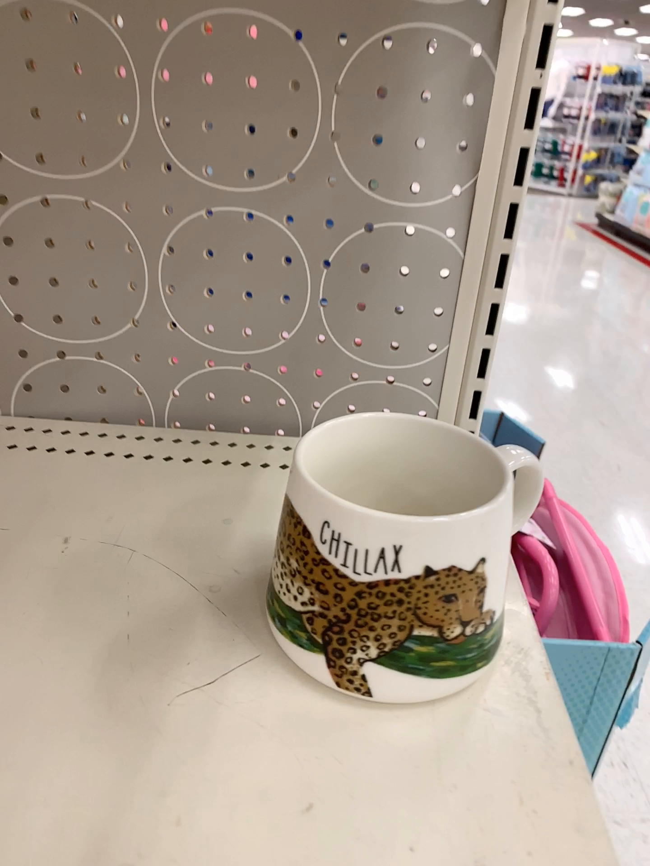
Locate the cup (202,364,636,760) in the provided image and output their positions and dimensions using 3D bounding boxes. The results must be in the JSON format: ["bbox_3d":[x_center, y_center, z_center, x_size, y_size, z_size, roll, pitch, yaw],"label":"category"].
[{"bbox_3d":[0.034,0.040,0.295,0.140,0.090,0.110,-13,32,-30],"label":"cup"}]
